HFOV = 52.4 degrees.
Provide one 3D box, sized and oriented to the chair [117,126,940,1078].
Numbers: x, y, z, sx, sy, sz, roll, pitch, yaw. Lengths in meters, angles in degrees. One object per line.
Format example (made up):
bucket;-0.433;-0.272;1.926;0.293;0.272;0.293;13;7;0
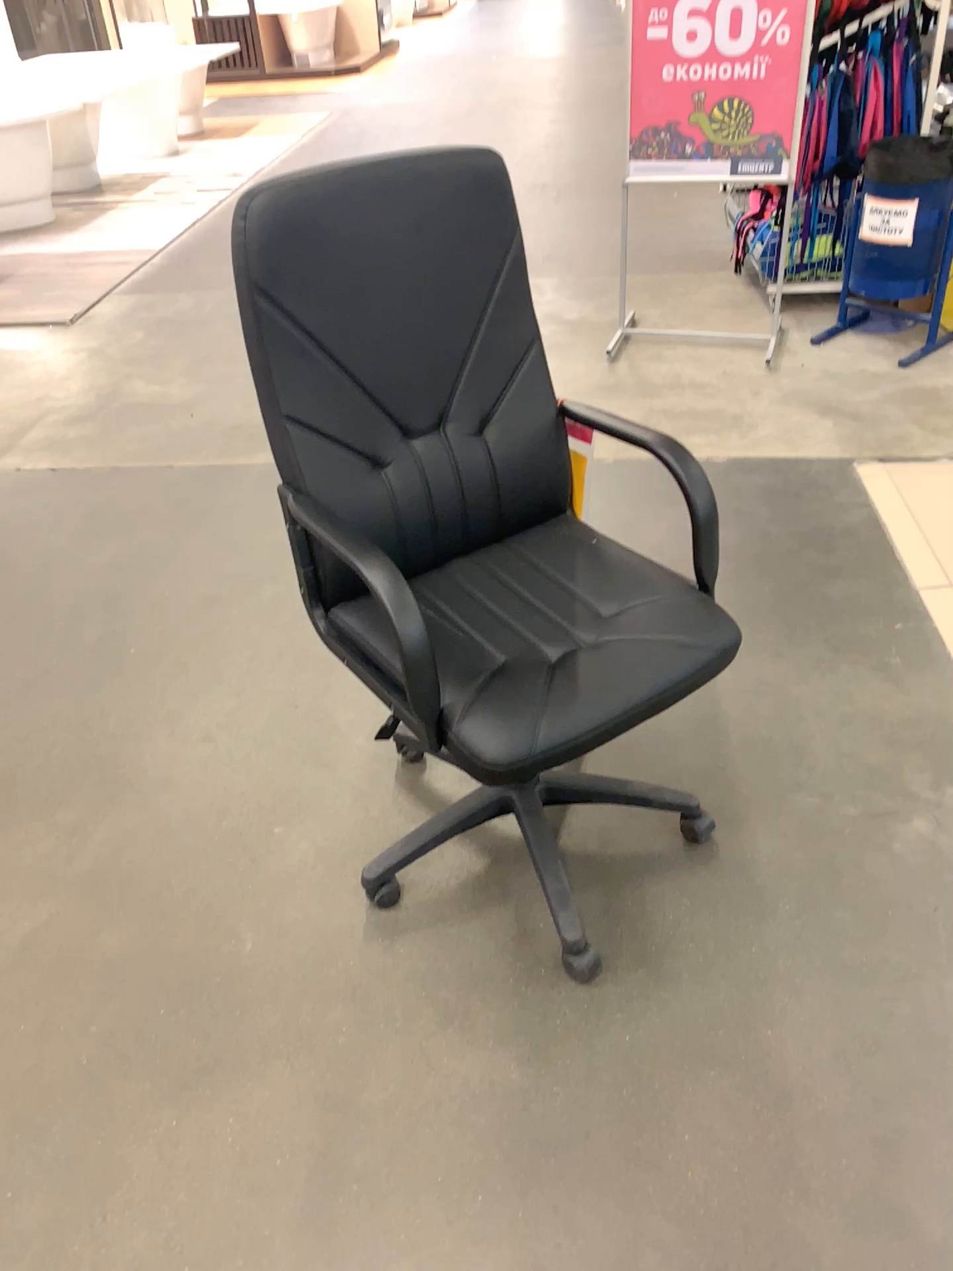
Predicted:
chair;0.041;-0.108;1.518;0.671;1.084;0.813;-24;40;-25
